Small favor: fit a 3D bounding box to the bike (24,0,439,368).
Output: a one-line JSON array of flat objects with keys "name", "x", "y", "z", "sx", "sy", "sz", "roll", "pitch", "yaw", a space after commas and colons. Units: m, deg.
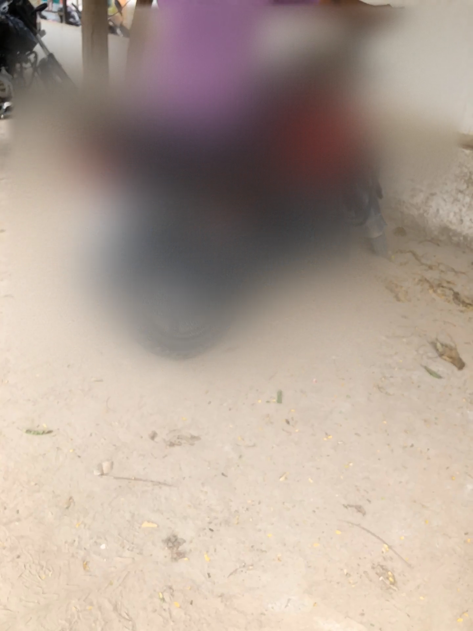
[{"name": "bike", "x": 0.072, "y": -0.861, "z": 2.241, "sx": 0.740, "sy": 1.086, "sz": 1.709, "roll": 24, "pitch": 41, "yaw": 29}]
